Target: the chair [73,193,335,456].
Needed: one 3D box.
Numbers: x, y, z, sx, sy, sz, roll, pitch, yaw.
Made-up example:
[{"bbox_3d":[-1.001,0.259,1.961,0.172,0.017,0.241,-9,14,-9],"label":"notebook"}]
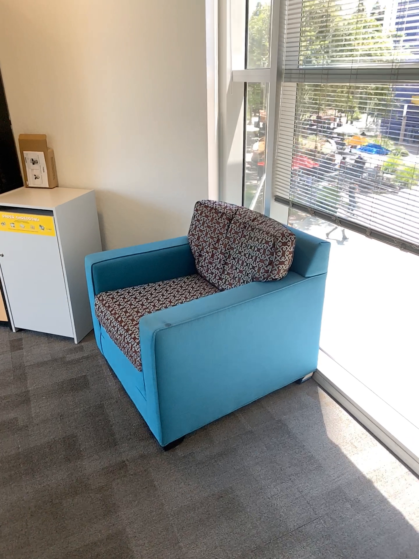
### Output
[{"bbox_3d":[-0.067,0.107,2.211,0.910,0.805,0.935,-15,28,-28],"label":"chair"}]
